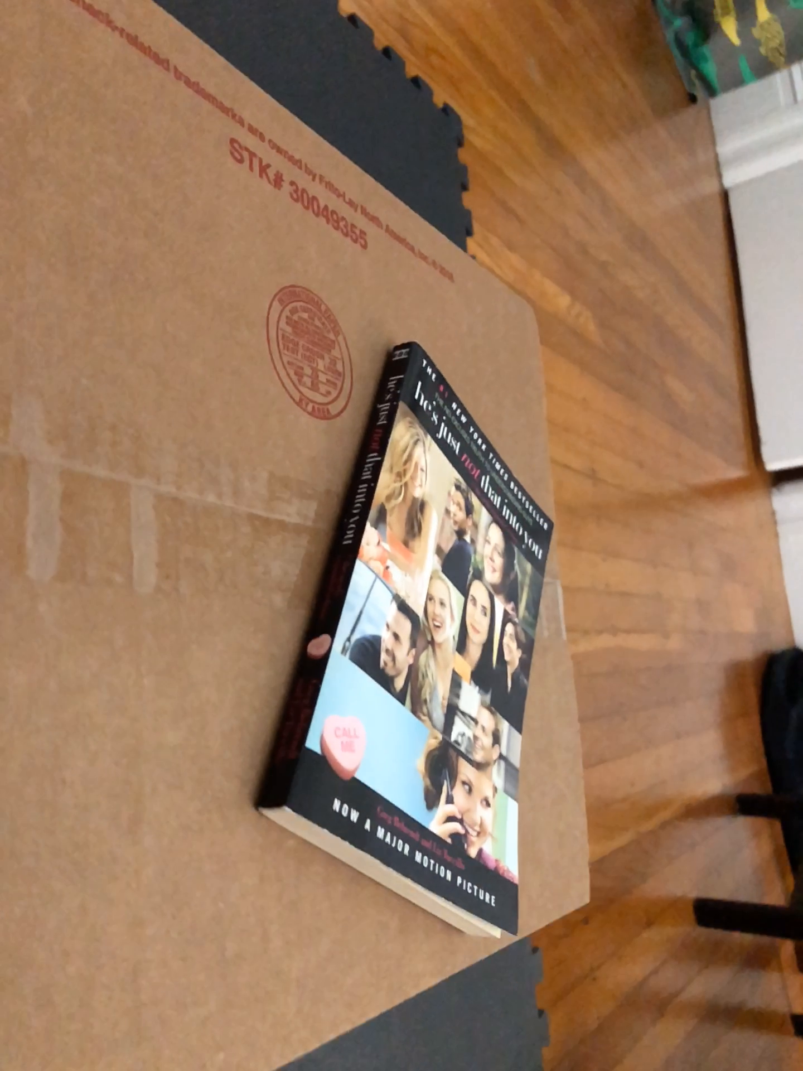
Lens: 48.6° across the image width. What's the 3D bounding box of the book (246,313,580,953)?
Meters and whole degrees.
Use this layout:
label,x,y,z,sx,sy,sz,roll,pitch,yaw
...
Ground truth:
label,x,y,z,sx,sy,sz,roll,pitch,yaw
book,0.024,0.040,0.368,0.160,0.020,0.211,46,45,-41
